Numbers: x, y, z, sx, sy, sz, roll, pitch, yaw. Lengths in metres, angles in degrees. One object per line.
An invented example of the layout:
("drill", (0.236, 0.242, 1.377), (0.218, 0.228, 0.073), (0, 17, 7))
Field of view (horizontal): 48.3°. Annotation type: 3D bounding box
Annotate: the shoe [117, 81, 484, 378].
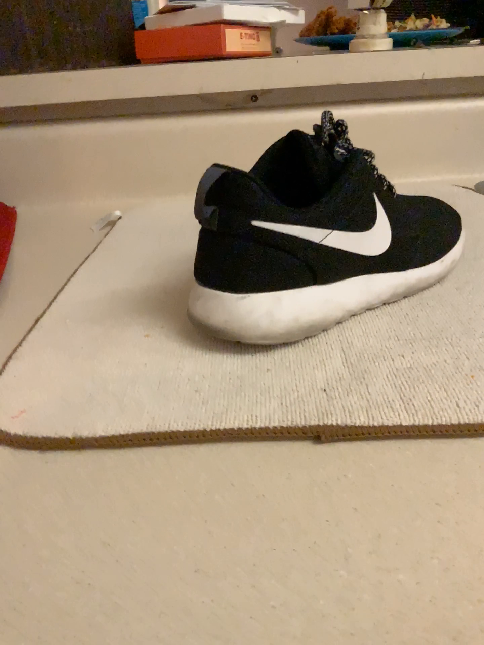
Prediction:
("shoe", (0.078, -0.092, 0.378), (0.280, 0.120, 0.130), (-24, 34, -34))
